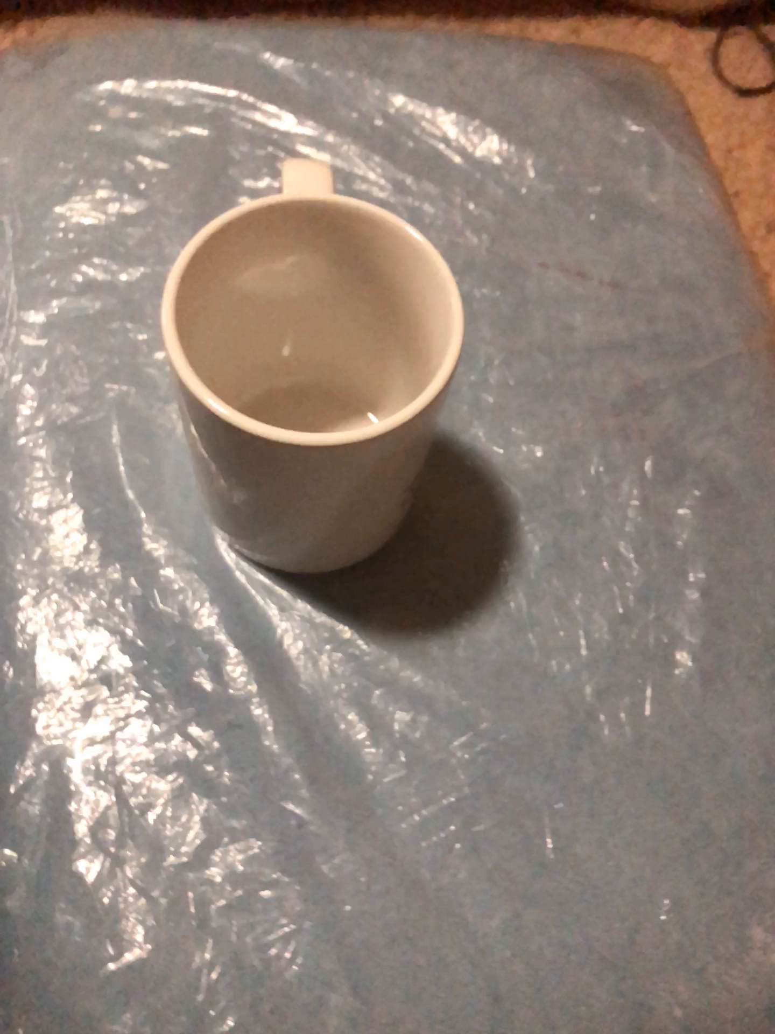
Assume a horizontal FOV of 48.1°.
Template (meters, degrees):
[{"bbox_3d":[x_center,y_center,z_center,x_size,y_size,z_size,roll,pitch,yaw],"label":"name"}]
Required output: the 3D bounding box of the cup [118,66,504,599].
[{"bbox_3d":[-0.030,-0.055,0.303,0.100,0.110,0.140,1,66,-9],"label":"cup"}]
